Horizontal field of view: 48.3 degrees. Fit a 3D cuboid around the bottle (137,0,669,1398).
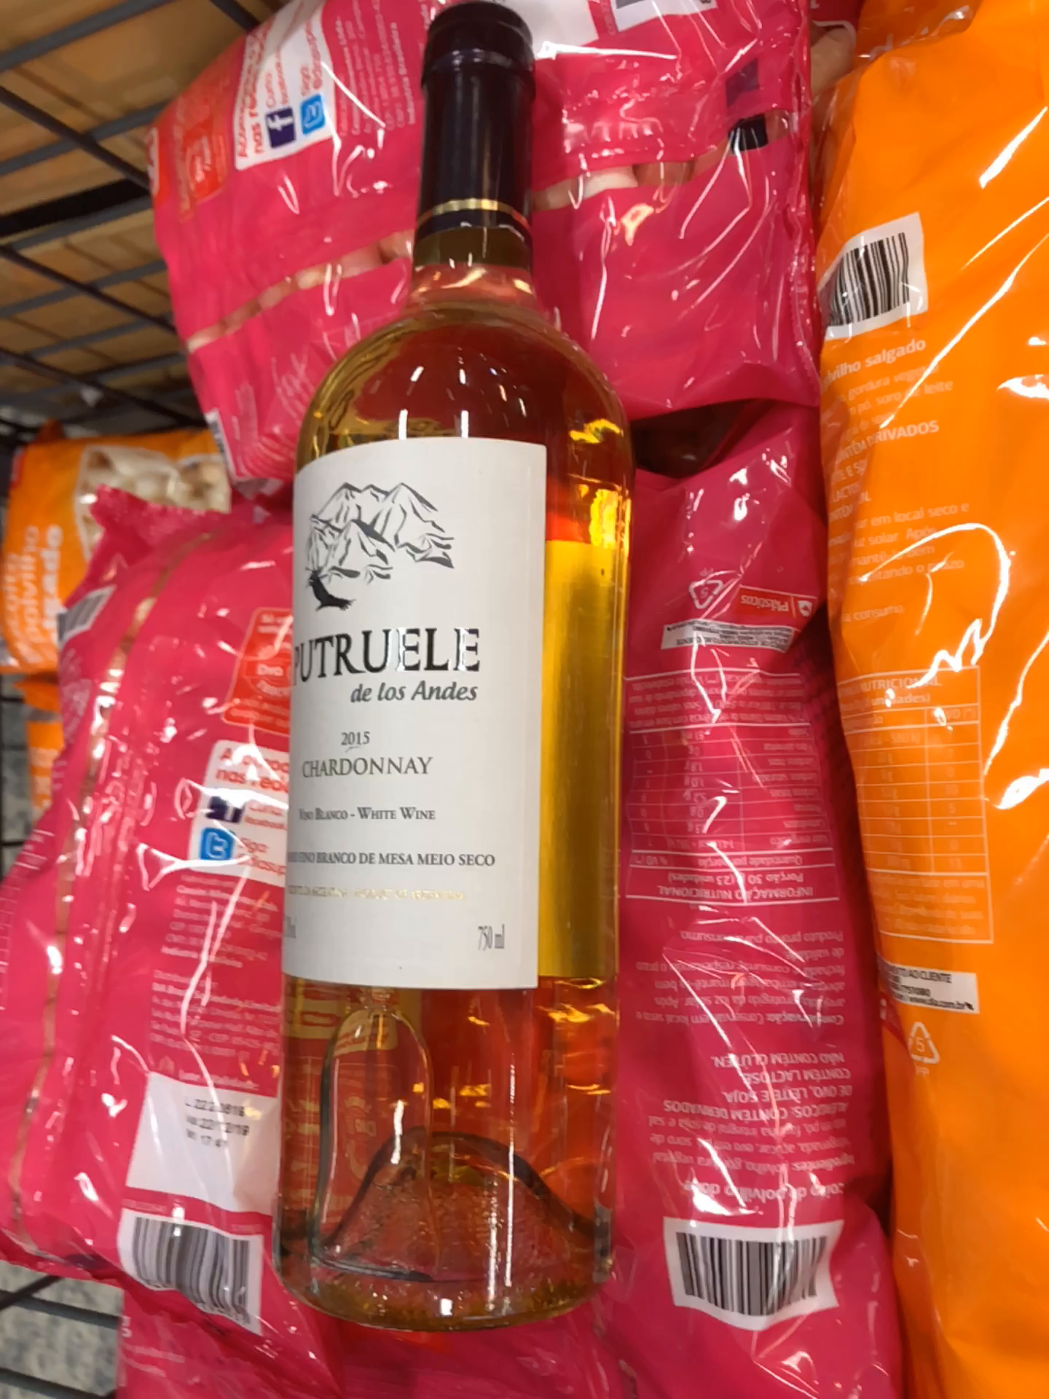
[{"bbox_3d":[-0.018,-0.025,0.260,0.080,0.070,0.300,-3,79,25],"label":"bottle"}]
